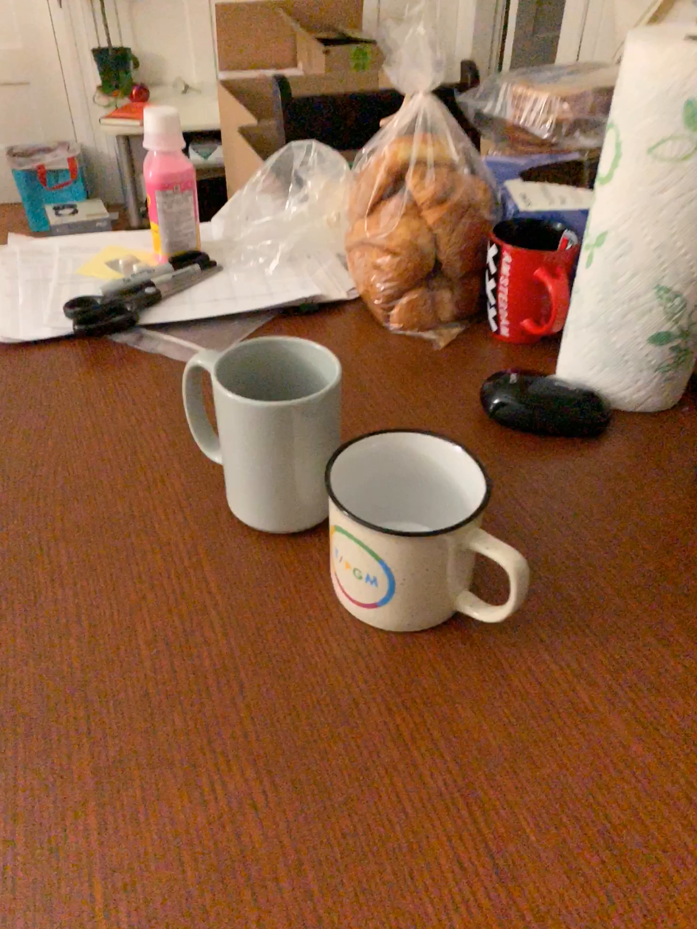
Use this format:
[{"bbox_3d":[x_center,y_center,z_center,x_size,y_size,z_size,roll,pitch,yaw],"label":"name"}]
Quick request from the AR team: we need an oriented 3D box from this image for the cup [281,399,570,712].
[{"bbox_3d":[0.039,0.048,0.429,0.100,0.099,0.131,-25,45,-29],"label":"cup"}]

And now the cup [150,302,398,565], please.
[{"bbox_3d":[-0.052,-0.028,0.494,0.100,0.099,0.141,-26,46,-29],"label":"cup"}]
